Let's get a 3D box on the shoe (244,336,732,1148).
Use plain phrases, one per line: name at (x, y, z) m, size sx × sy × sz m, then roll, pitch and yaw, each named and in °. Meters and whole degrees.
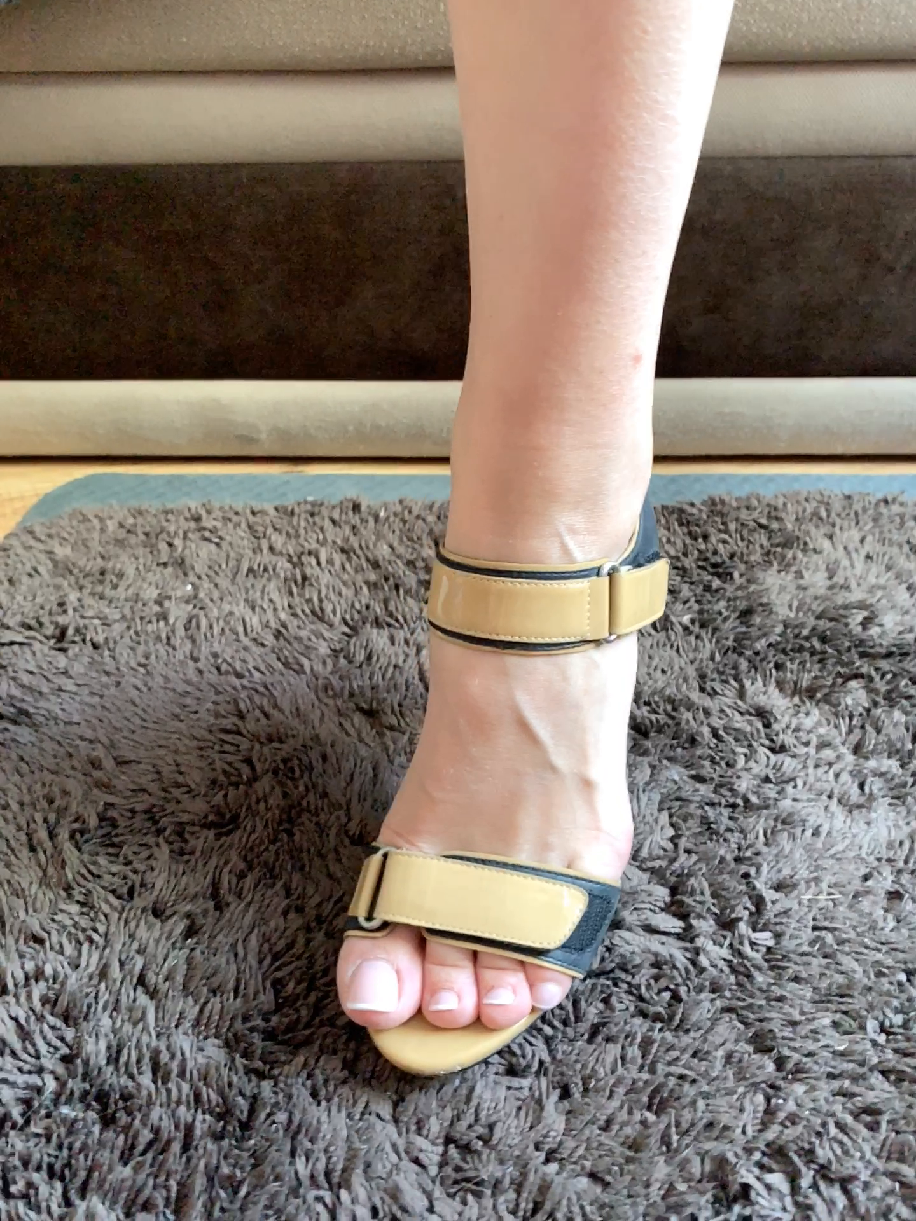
shoe at (0.027, 0.023, 0.304) m, size 0.090 × 0.149 × 0.201 m, roll 8°, pitch 37°, yaw 13°
